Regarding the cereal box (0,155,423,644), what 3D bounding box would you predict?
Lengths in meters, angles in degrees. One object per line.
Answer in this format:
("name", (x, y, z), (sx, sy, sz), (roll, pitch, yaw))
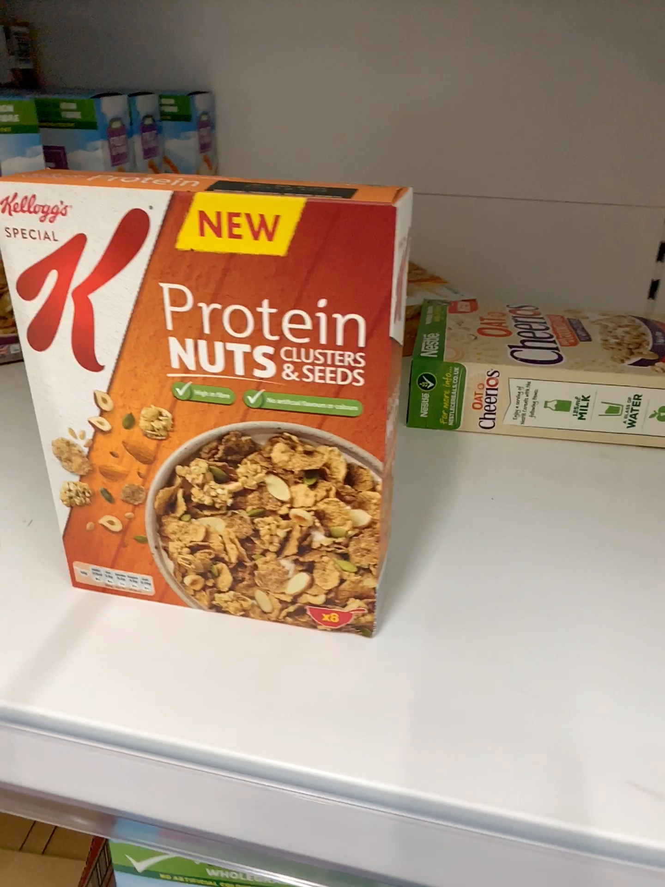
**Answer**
("cereal box", (-0.063, -0.022, 0.374), (0.200, 0.238, 0.071), (7, 28, 11))
